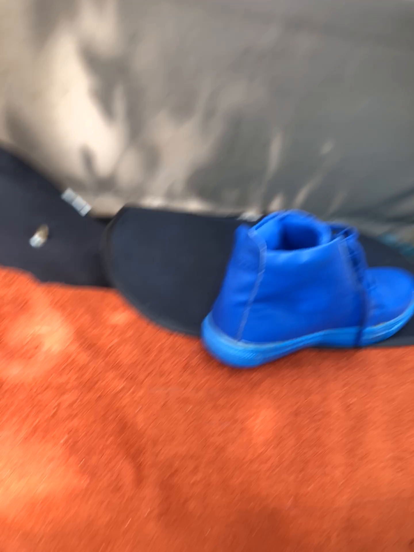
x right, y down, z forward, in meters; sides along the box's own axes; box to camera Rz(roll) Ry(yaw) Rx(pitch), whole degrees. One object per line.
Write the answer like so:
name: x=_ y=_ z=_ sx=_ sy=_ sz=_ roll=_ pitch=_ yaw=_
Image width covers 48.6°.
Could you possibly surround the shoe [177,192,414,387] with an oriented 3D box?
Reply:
shoe: x=0.131 y=0.001 z=0.485 sx=0.291 sy=0.139 sz=0.100 roll=-7 pitch=38 yaw=-27
